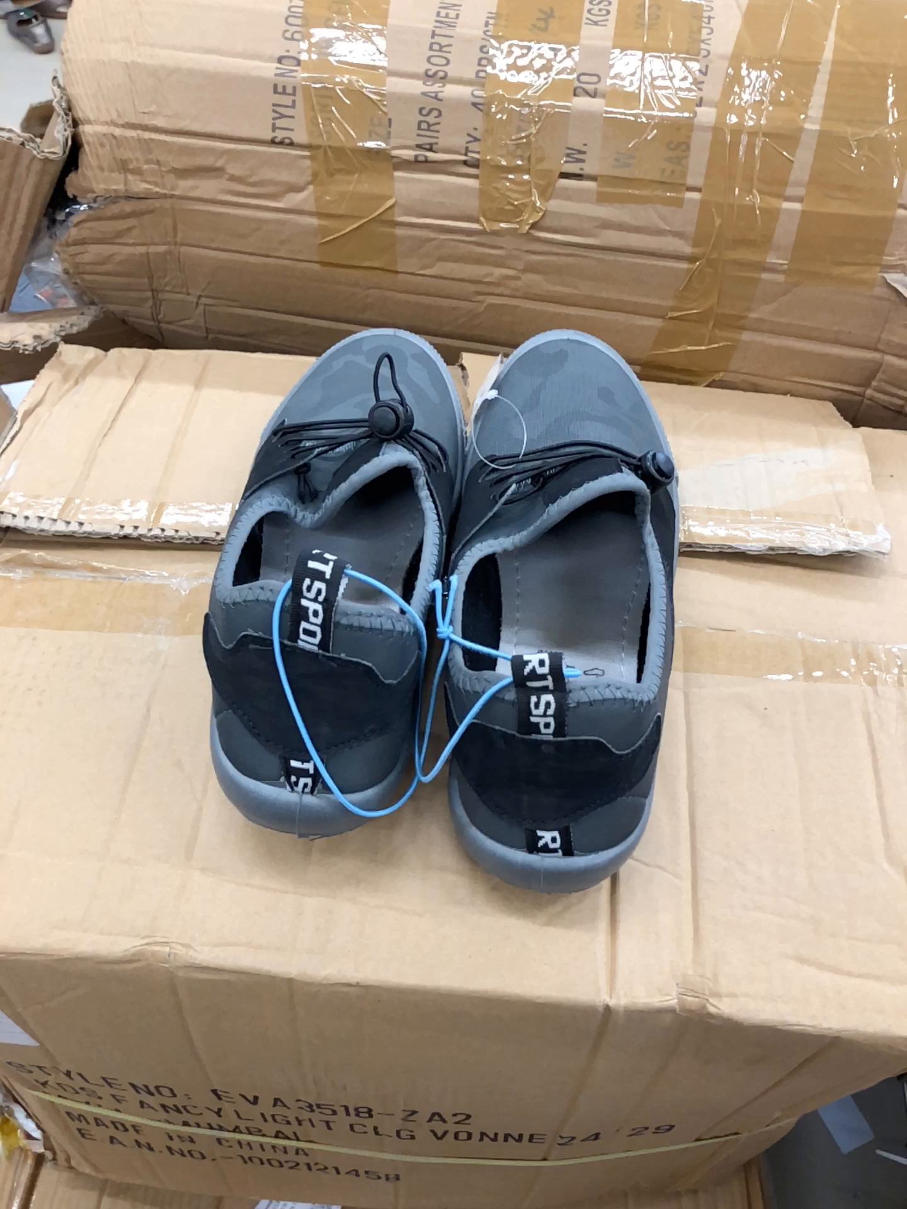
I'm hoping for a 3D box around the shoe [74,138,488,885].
[{"bbox_3d":[-0.048,-0.055,0.436,0.110,0.149,0.302,4,50,0],"label":"shoe"}]

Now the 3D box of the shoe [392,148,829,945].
[{"bbox_3d":[0.052,-0.043,0.399,0.110,0.129,0.302,6,50,2],"label":"shoe"}]
